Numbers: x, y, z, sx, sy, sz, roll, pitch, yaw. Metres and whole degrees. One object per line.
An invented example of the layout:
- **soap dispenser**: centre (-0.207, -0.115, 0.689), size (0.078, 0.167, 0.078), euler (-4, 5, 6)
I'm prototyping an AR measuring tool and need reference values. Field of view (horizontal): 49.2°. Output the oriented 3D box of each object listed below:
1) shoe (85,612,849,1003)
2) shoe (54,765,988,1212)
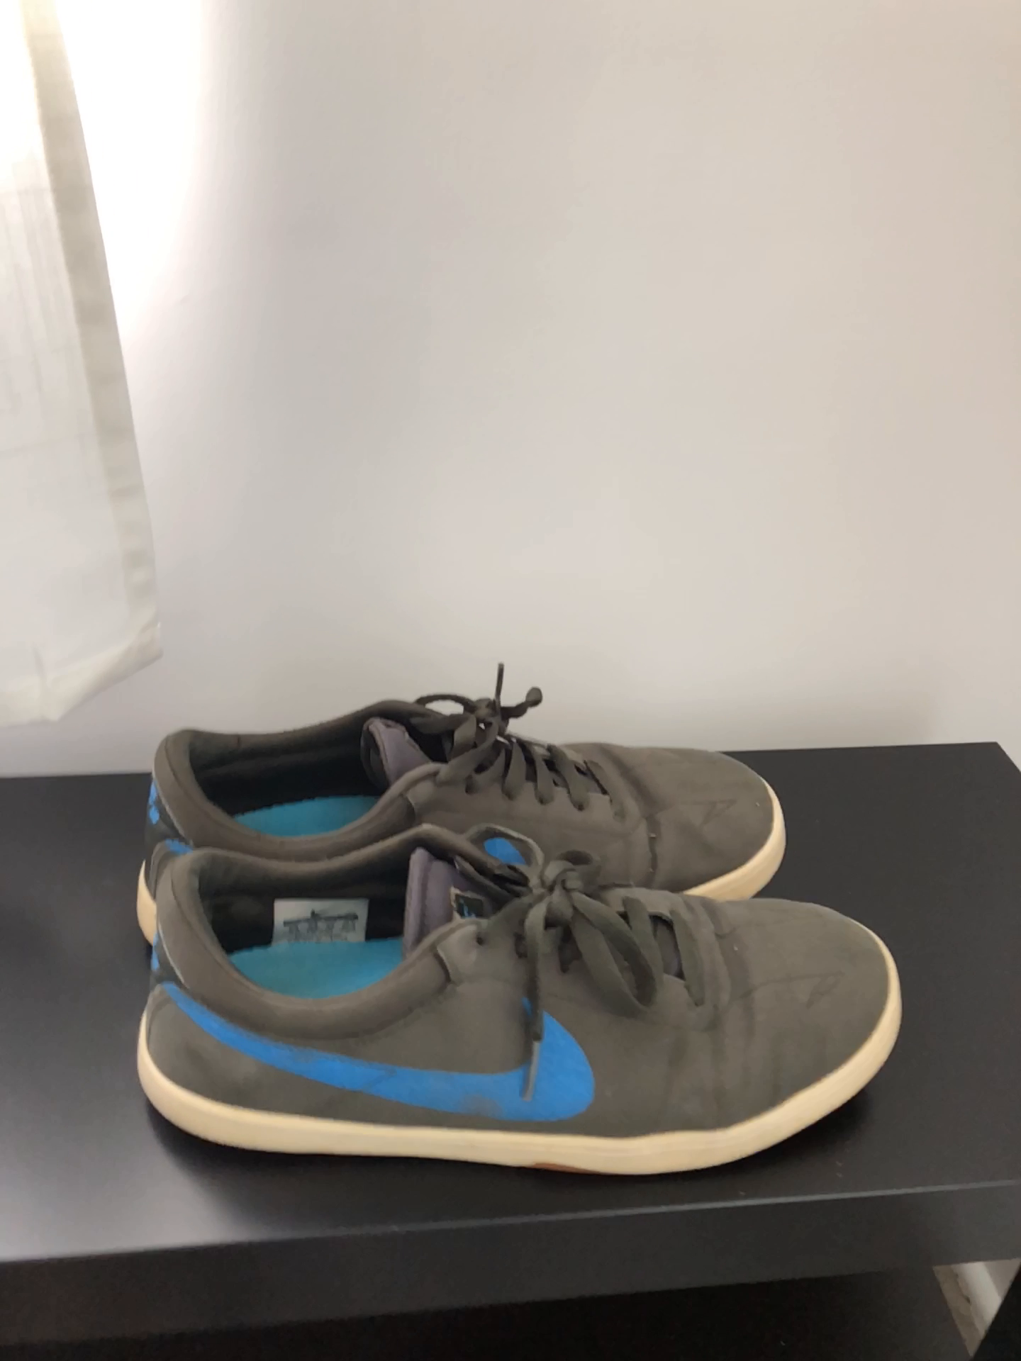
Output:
- **shoe**: centre (-0.019, 0.048, 0.477), size (0.280, 0.110, 0.100), euler (-3, 32, -9)
- **shoe**: centre (0.002, 0.106, 0.404), size (0.280, 0.110, 0.100), euler (0, 32, -5)
